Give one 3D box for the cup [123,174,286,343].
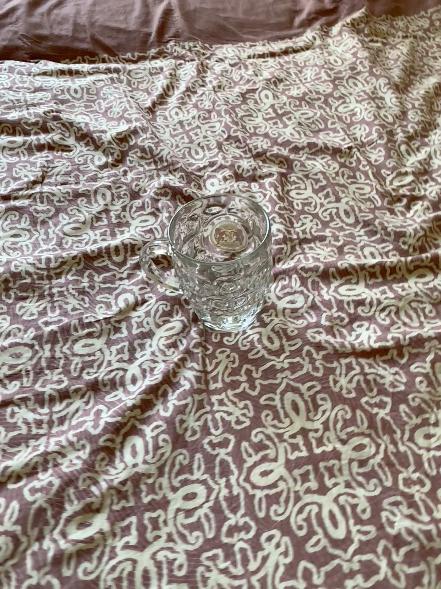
[{"bbox_3d":[-0.009,-0.033,0.421,0.120,0.109,0.091,8,50,8],"label":"cup"}]
